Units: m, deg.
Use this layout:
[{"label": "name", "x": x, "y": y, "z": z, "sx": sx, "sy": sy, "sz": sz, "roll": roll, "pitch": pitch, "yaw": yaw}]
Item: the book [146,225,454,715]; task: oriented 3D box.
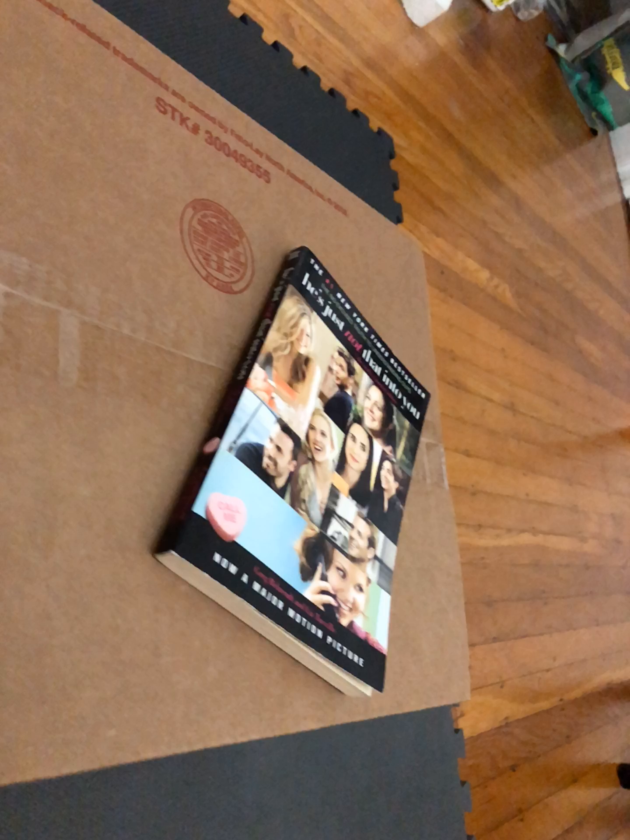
[{"label": "book", "x": 0.014, "y": 0.022, "z": 0.375, "sx": 0.160, "sy": 0.020, "sz": 0.211, "roll": 44, "pitch": 45, "yaw": -32}]
